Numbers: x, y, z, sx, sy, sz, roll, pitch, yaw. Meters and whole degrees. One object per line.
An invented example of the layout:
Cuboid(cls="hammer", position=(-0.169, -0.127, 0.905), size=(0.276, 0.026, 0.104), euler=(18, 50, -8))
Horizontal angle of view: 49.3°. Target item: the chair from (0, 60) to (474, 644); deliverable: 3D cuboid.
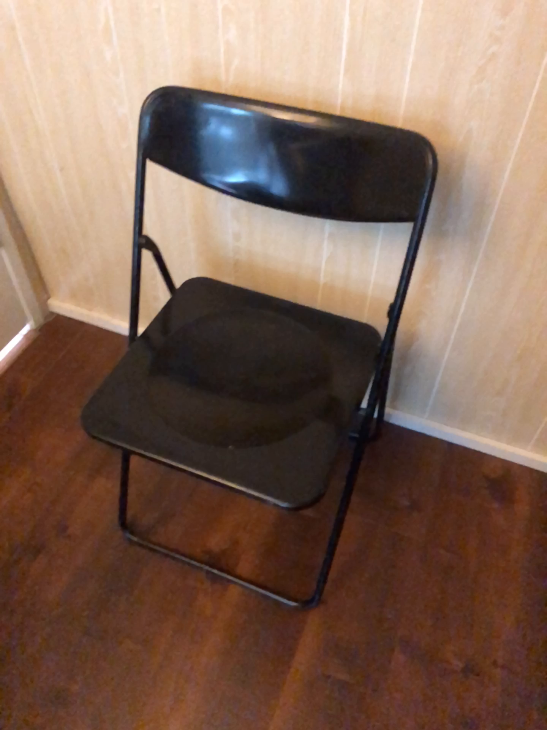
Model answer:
Cuboid(cls="chair", position=(-0.062, 0.005, 0.928), size=(0.491, 0.666, 0.472), euler=(17, 52, 14))
